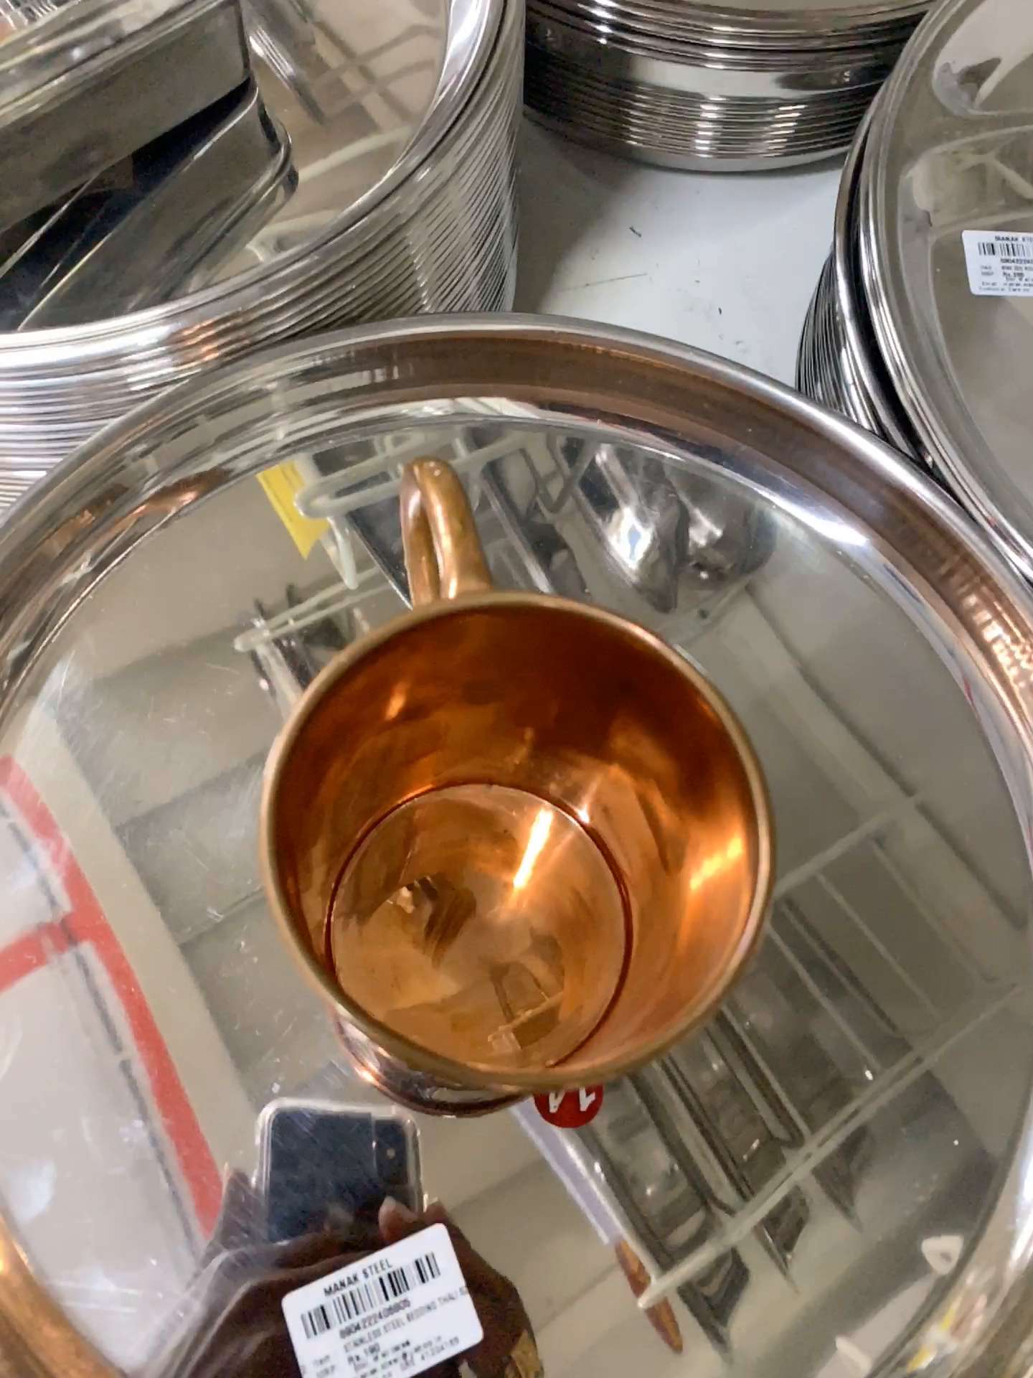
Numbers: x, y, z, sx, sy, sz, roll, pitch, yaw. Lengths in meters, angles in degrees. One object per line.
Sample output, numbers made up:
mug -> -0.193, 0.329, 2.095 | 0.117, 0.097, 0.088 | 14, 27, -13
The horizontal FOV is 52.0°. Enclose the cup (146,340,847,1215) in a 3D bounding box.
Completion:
cup -> -0.011, 0.025, 0.227 | 0.080, 0.120, 0.130 | -15, 70, -8
